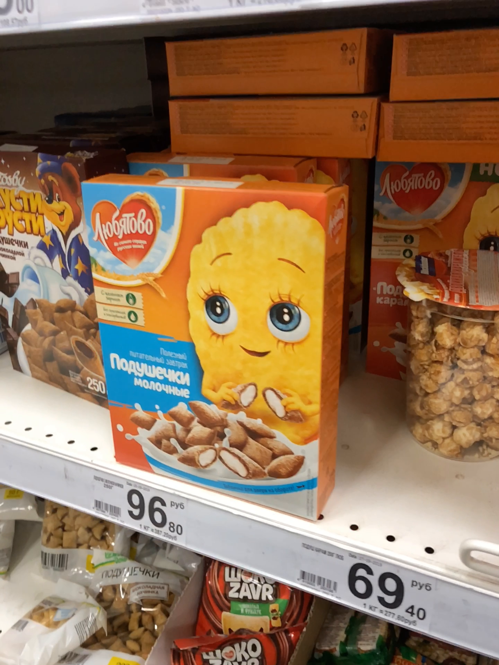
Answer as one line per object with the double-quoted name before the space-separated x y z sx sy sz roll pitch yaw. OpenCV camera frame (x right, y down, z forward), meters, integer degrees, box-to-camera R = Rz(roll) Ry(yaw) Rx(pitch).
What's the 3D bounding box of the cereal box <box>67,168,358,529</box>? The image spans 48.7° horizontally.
"cereal box" -0.025 0.008 0.391 0.180 0.229 0.050 9 25 23
